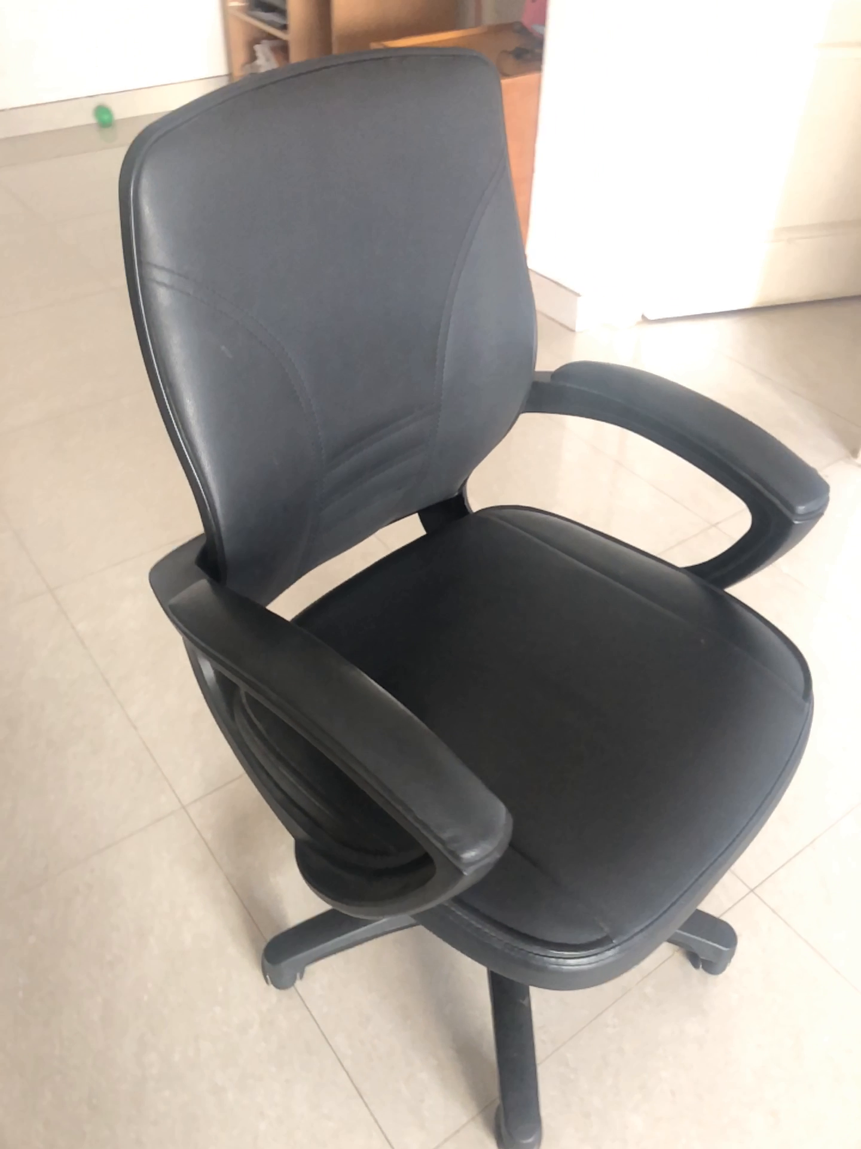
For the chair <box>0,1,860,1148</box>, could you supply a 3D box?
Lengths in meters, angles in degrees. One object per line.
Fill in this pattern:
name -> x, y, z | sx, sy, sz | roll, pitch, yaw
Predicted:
chair -> 0.098, 0.049, 0.975 | 0.633, 0.953, 0.703 | 33, 50, 32
